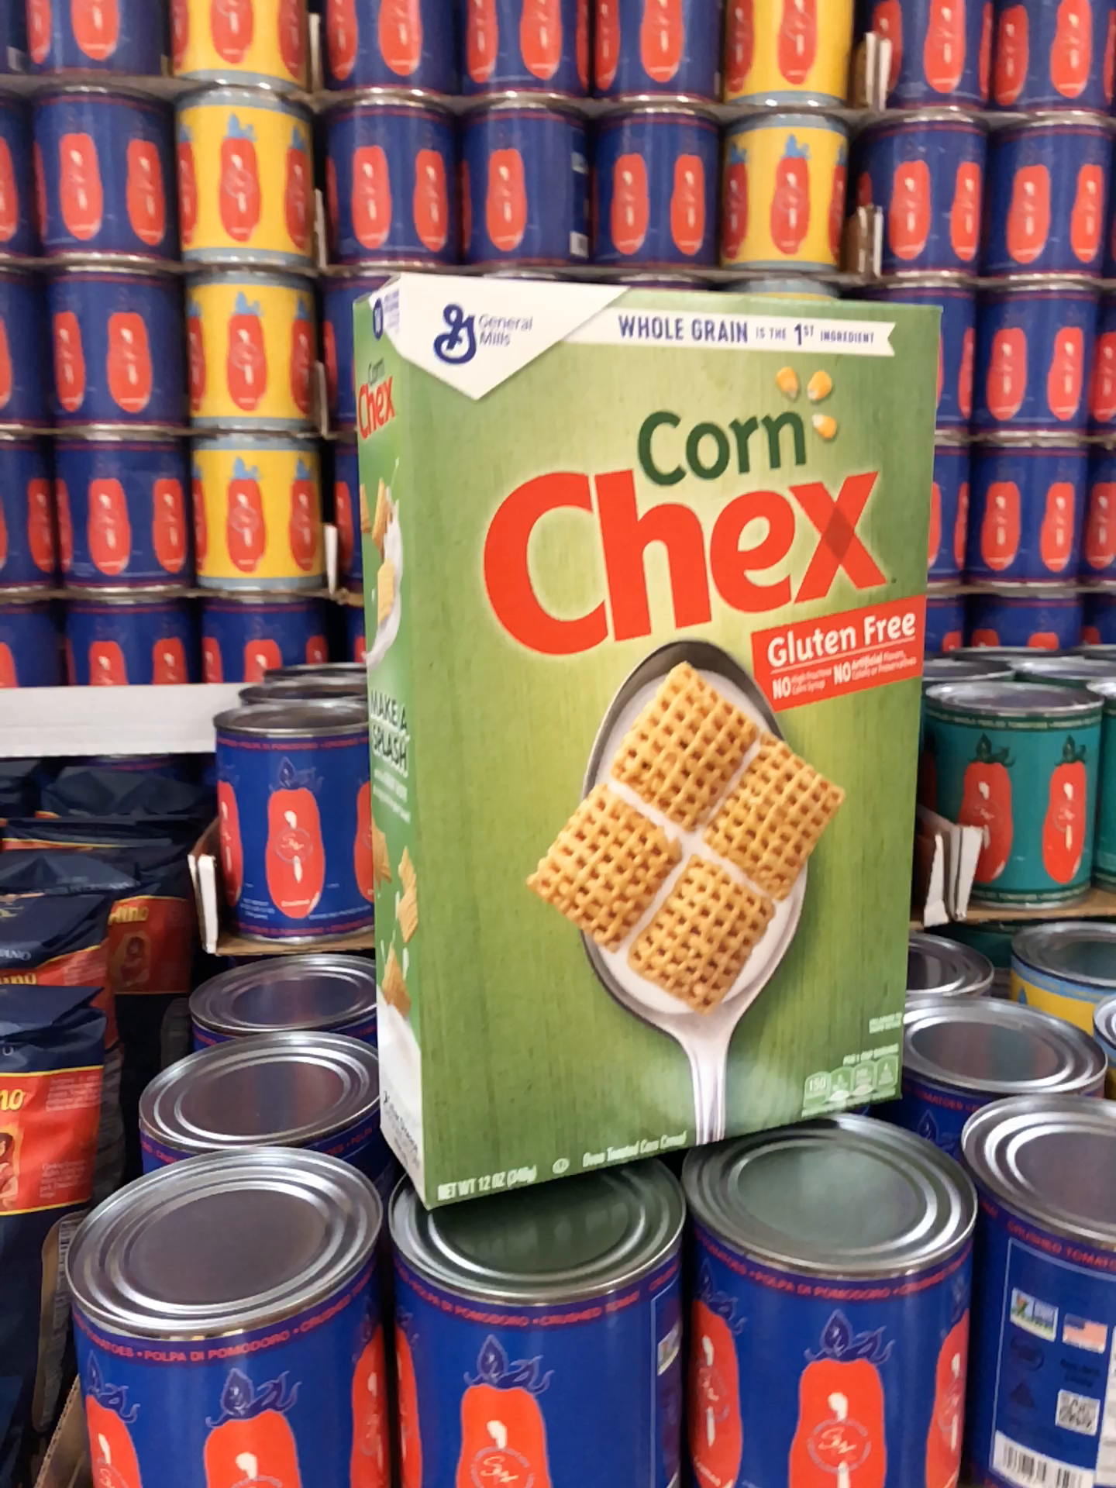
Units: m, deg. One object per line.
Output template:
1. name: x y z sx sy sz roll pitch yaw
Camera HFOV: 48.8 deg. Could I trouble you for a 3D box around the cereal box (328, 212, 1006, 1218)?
1. cereal box: 0.041 -0.012 0.431 0.220 0.299 0.060 -5 11 -23
